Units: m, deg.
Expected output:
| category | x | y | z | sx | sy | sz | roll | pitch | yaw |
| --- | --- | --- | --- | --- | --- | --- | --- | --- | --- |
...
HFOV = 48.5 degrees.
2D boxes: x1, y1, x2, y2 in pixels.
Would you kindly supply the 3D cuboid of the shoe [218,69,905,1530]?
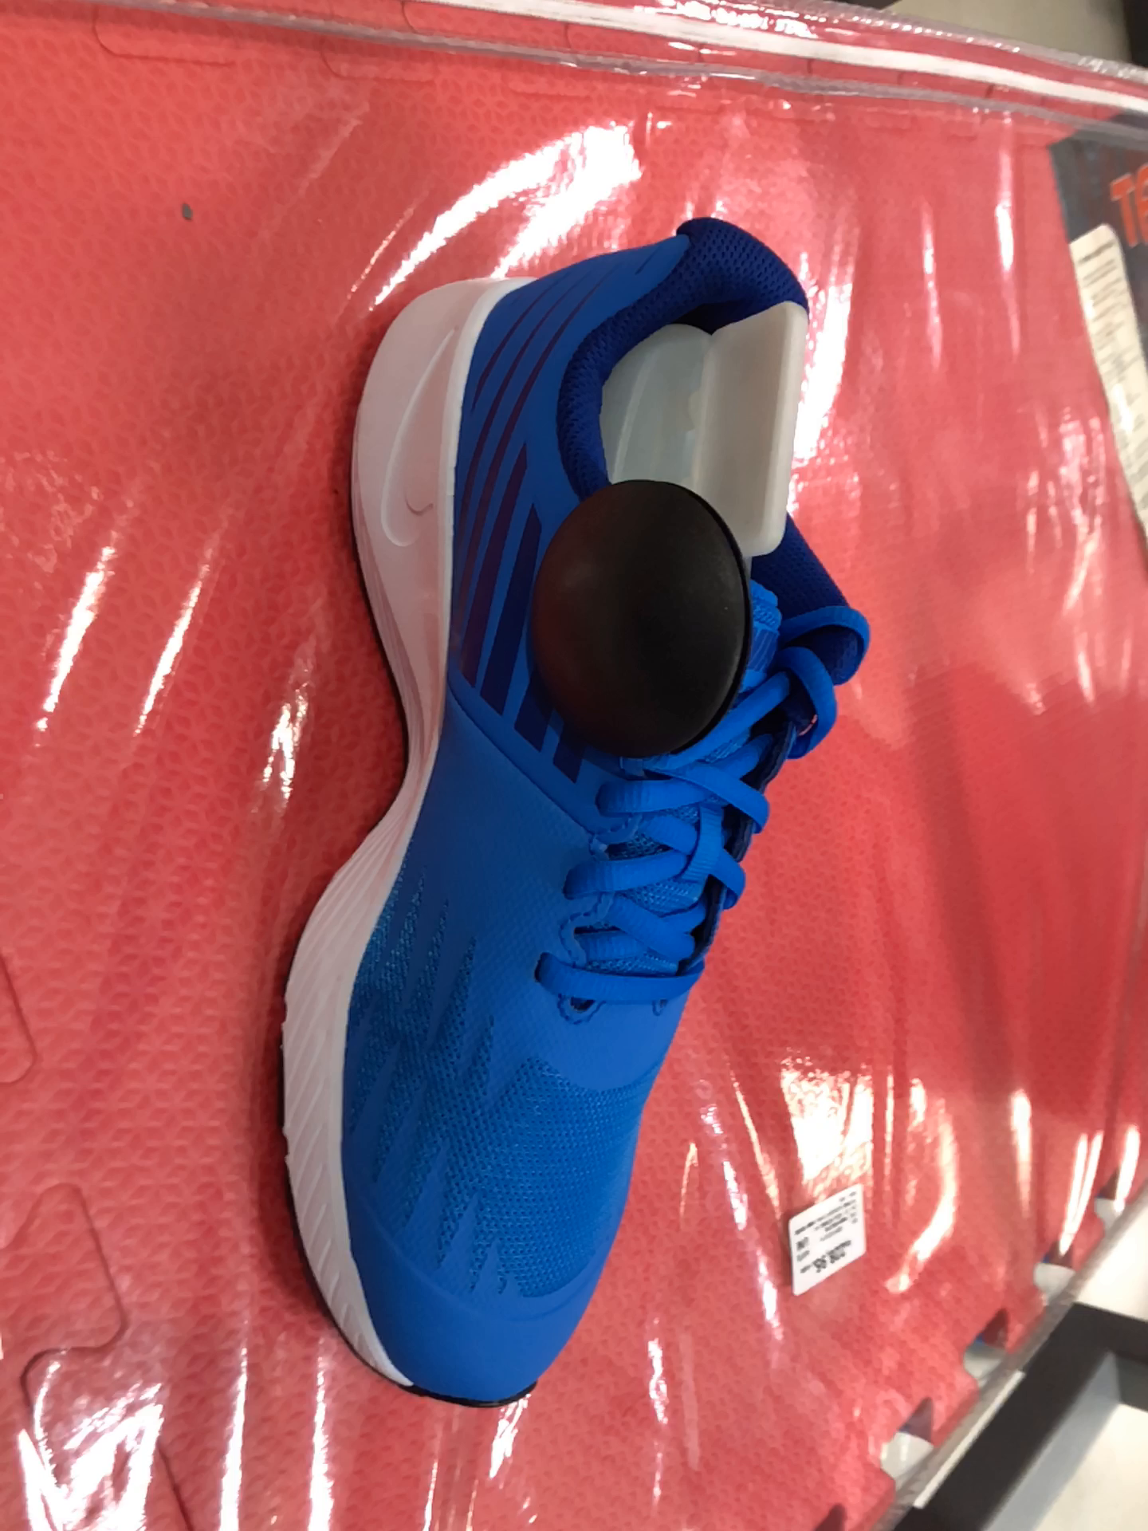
| category | x | y | z | sx | sy | sz | roll | pitch | yaw |
| --- | --- | --- | --- | --- | --- | --- | --- | --- | --- |
| shoe | 0.002 | 0.009 | 0.305 | 0.101 | 0.099 | 0.280 | 12 | 79 | -44 |
